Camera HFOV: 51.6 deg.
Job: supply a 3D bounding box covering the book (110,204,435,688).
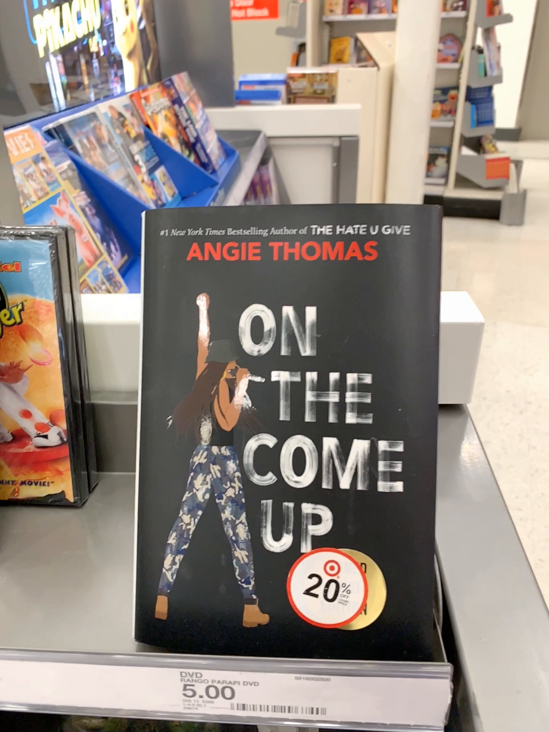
[{"bbox_3d":[-0.001,0.035,0.295,0.149,0.222,0.056,1,0,5],"label":"book"}]
